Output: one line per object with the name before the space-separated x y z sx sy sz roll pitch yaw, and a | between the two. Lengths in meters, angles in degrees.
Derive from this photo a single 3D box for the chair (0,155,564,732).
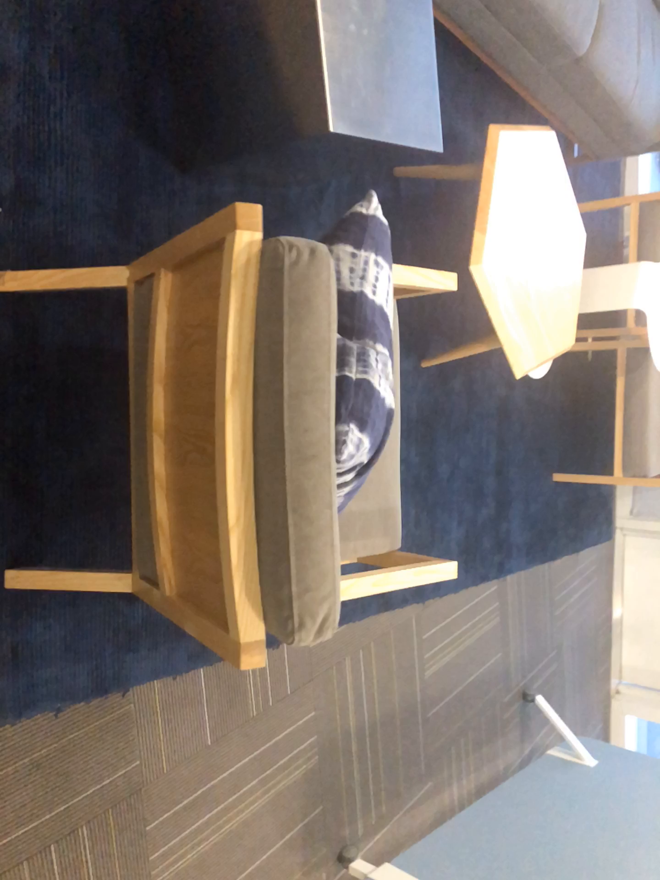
chair | -0.088 -0.005 1.409 0.837 0.774 0.670 0 91 -51
